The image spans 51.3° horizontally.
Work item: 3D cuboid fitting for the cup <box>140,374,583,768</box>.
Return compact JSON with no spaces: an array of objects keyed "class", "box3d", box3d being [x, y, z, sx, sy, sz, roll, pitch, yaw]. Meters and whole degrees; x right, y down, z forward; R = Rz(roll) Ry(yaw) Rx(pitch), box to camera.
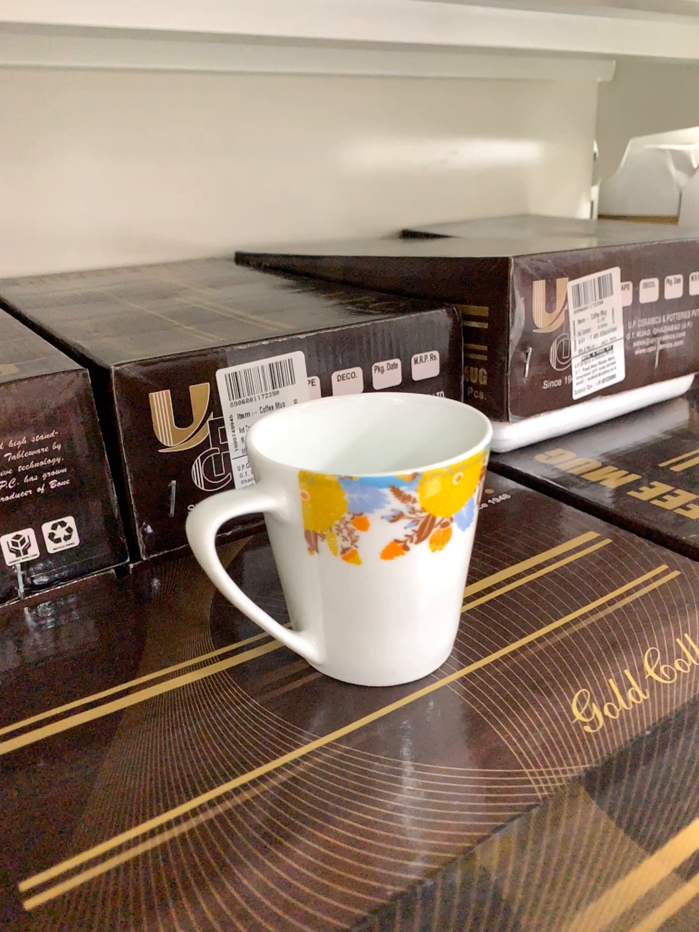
[{"class":"cup","box3d":[0.003,0.018,0.198,0.092,0.058,0.068,-16,25,-29]}]
